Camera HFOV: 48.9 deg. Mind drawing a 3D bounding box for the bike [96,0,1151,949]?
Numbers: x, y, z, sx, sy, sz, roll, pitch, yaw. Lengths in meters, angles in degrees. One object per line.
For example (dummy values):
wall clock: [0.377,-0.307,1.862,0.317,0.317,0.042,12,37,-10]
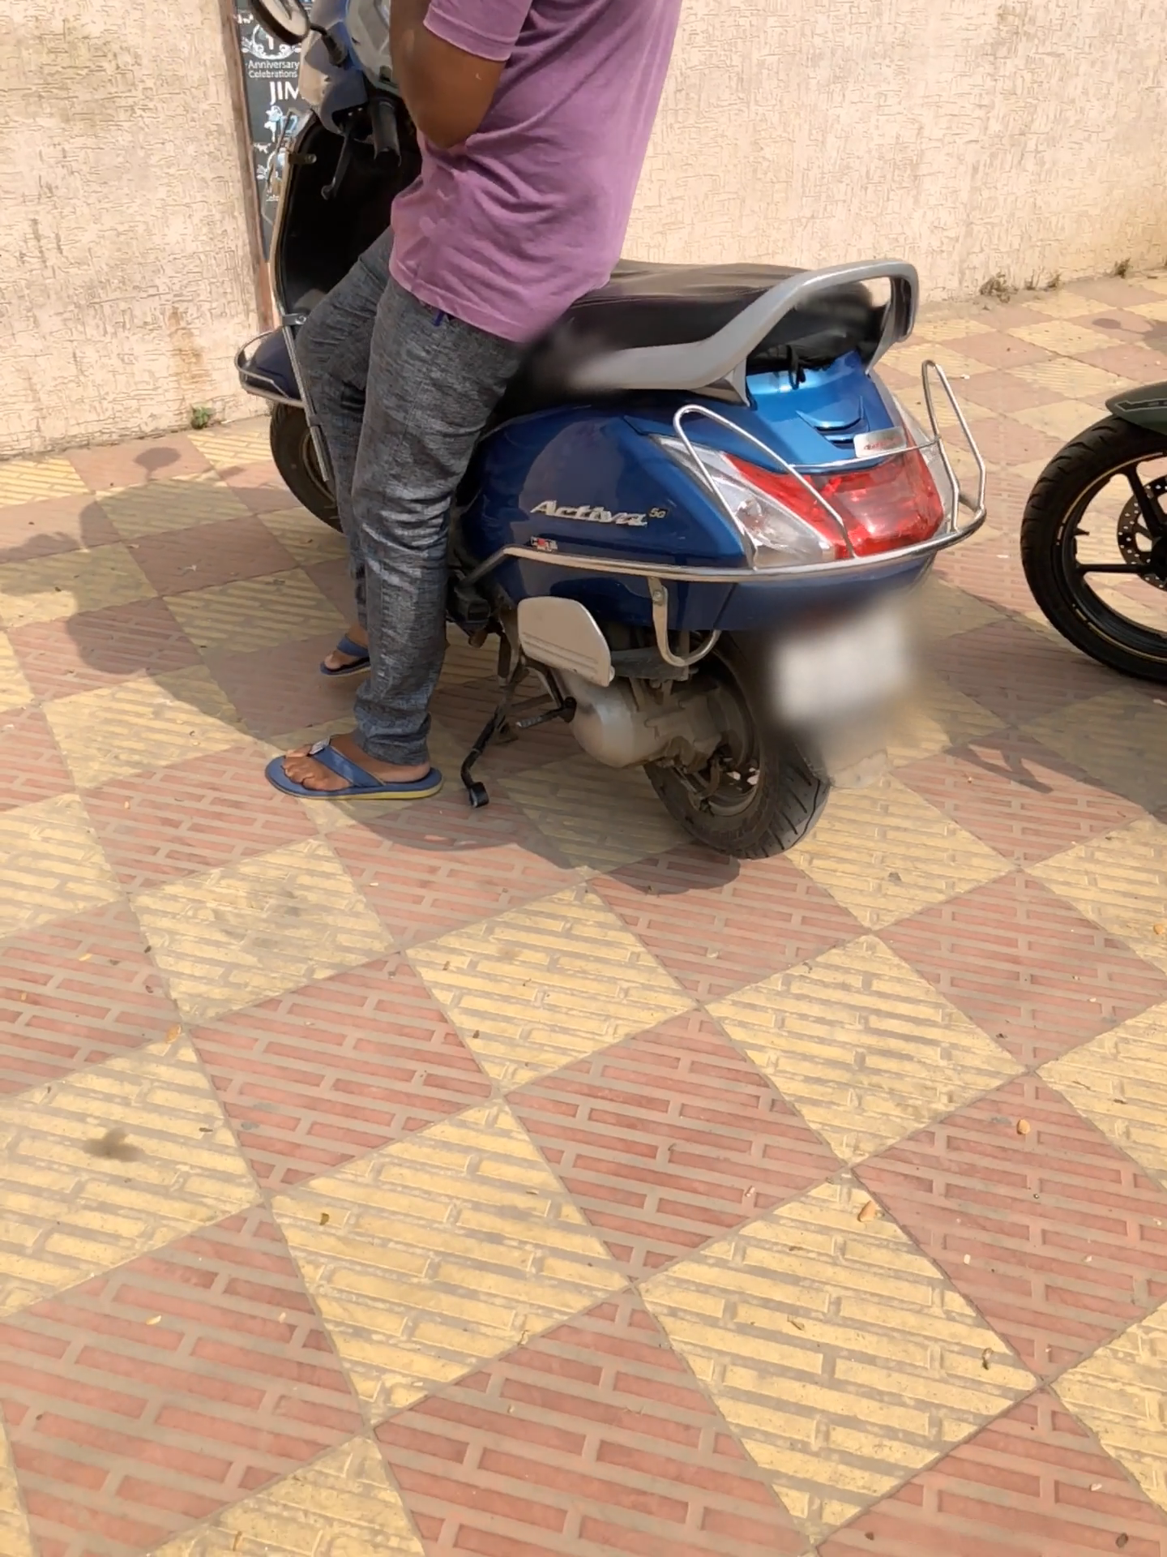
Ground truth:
bike: [-0.122,-0.692,2.143,0.625,1.037,1.704,-22,40,-30]
